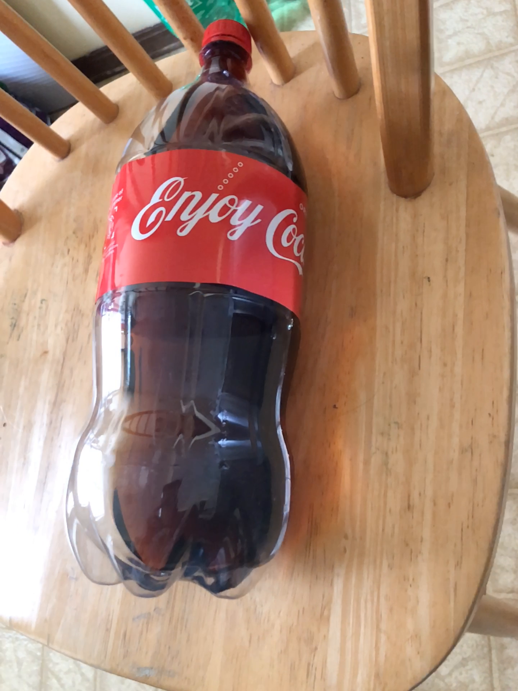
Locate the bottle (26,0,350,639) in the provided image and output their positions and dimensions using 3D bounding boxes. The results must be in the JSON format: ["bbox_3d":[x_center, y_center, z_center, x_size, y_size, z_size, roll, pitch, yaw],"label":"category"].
[{"bbox_3d":[-0.033,-0.037,0.302,0.100,0.120,0.320,-21,63,61],"label":"bottle"}]
